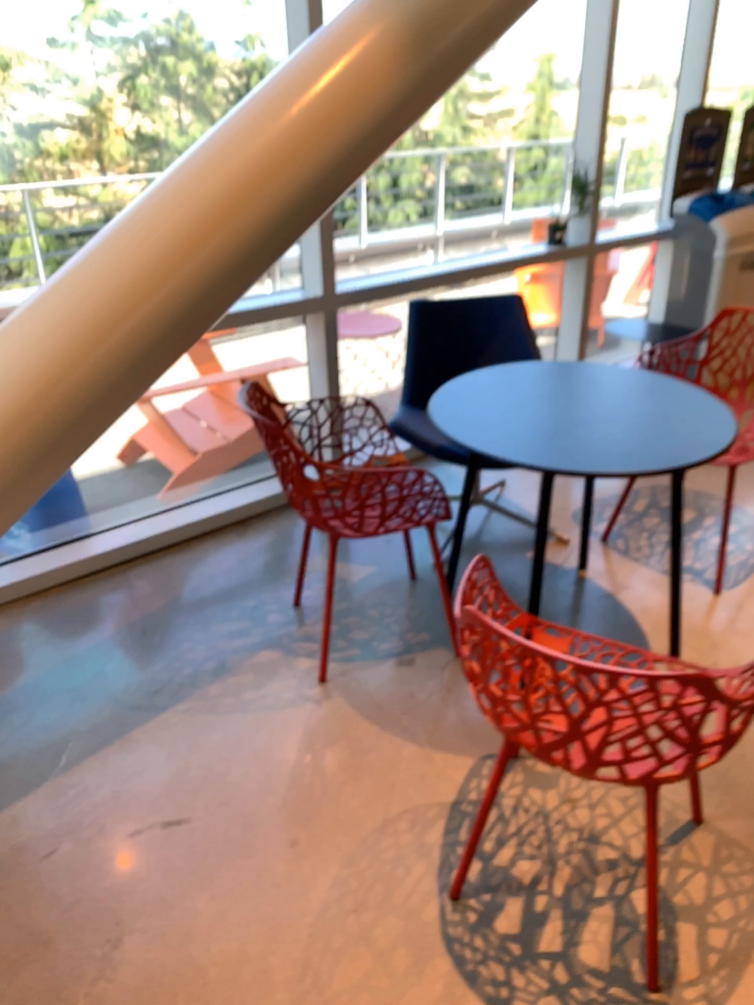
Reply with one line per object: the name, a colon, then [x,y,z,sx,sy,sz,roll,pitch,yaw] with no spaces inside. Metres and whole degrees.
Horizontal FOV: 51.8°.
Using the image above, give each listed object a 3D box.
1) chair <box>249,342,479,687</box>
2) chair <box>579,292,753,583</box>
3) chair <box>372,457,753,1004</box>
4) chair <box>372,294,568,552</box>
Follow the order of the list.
chair: [-0.057,0.010,2.228,0.530,0.765,0.563,-5,28,-8]
chair: [1.147,-0.259,2.721,0.561,0.765,0.552,-21,34,-33]
chair: [0.373,0.415,1.480,0.561,0.765,0.532,13,31,26]
chair: [0.303,-0.304,2.843,0.560,0.765,0.513,-5,28,-7]
